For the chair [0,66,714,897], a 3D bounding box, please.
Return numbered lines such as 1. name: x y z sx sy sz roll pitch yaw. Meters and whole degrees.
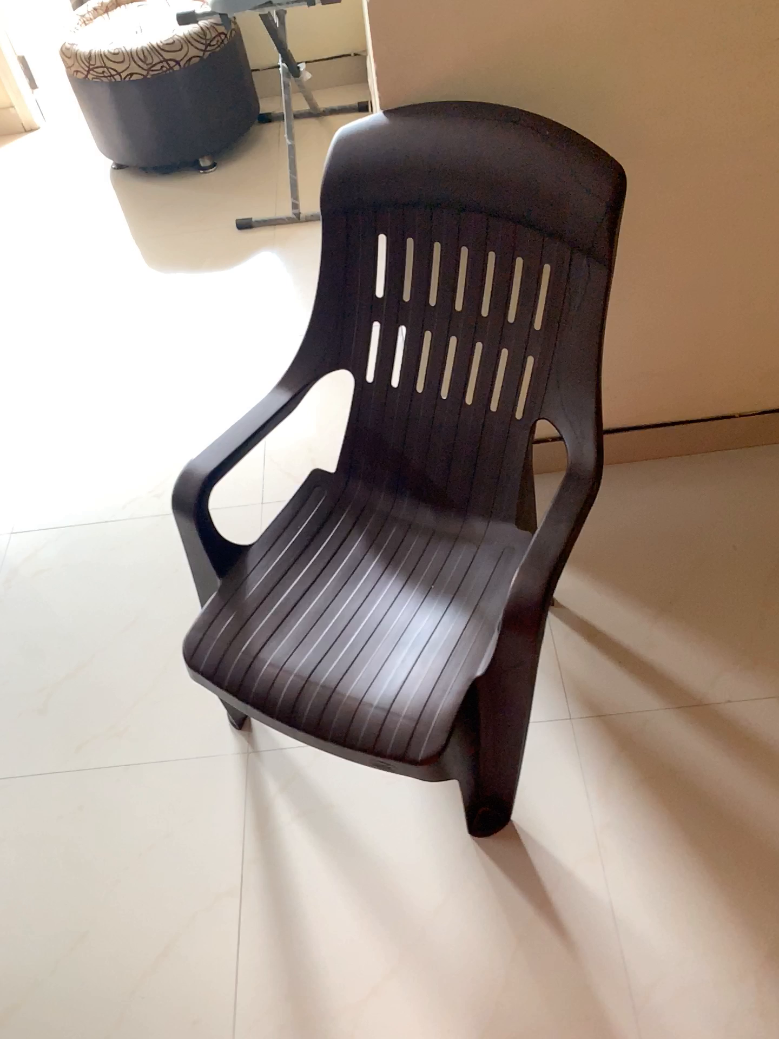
1. chair: 0.019 0.001 1.256 0.601 1.032 0.664 19 56 22
